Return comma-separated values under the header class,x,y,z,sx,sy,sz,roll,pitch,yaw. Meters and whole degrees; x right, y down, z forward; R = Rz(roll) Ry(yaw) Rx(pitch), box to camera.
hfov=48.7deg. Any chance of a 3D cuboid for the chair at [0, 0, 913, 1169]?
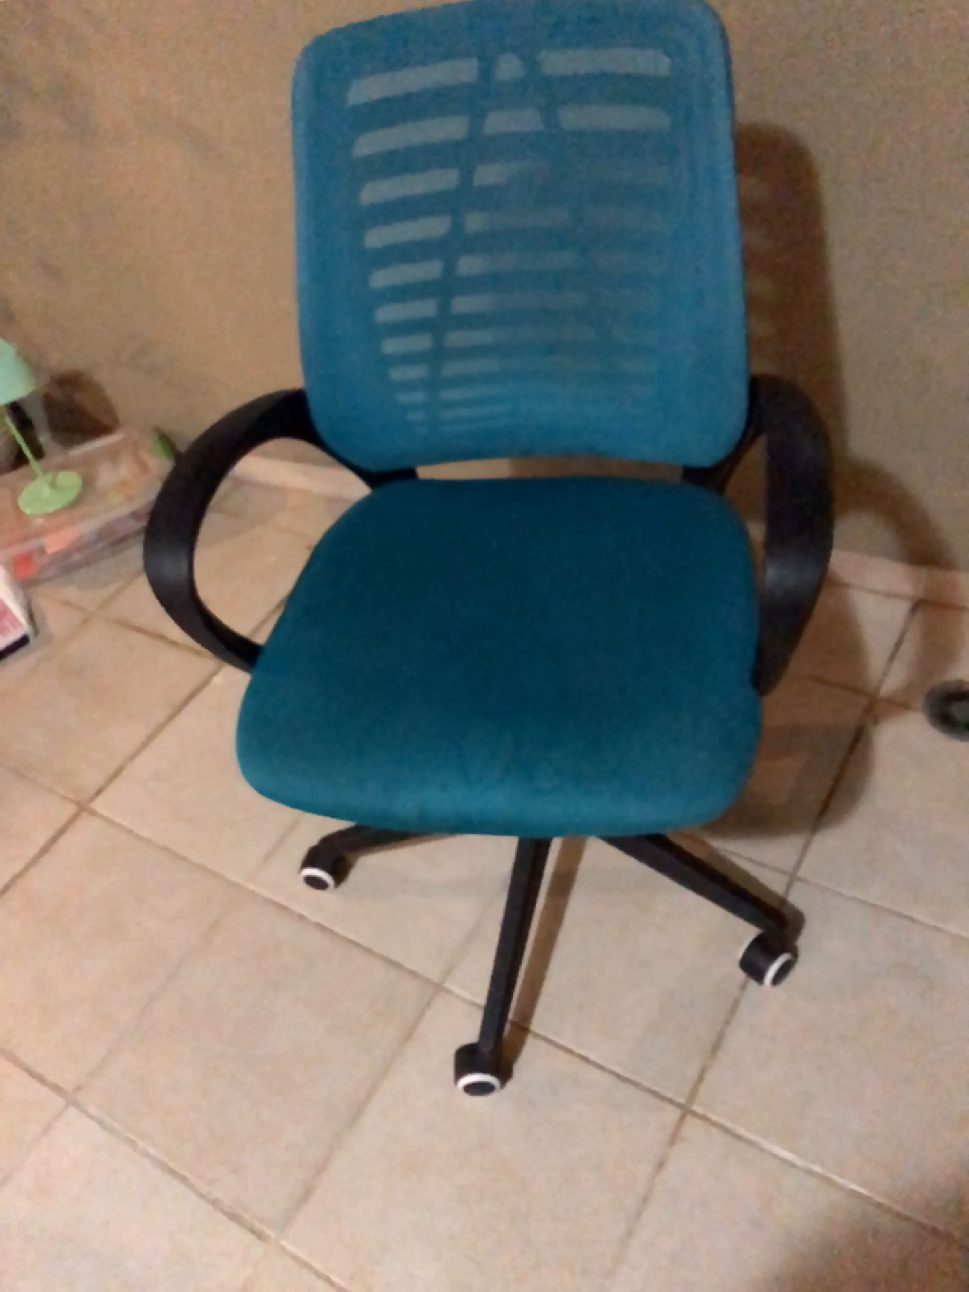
class,x,y,z,sx,sy,sz,roll,pitch,yaw
chair,0.009,-0.064,1.131,0.711,0.923,0.745,2,46,16
